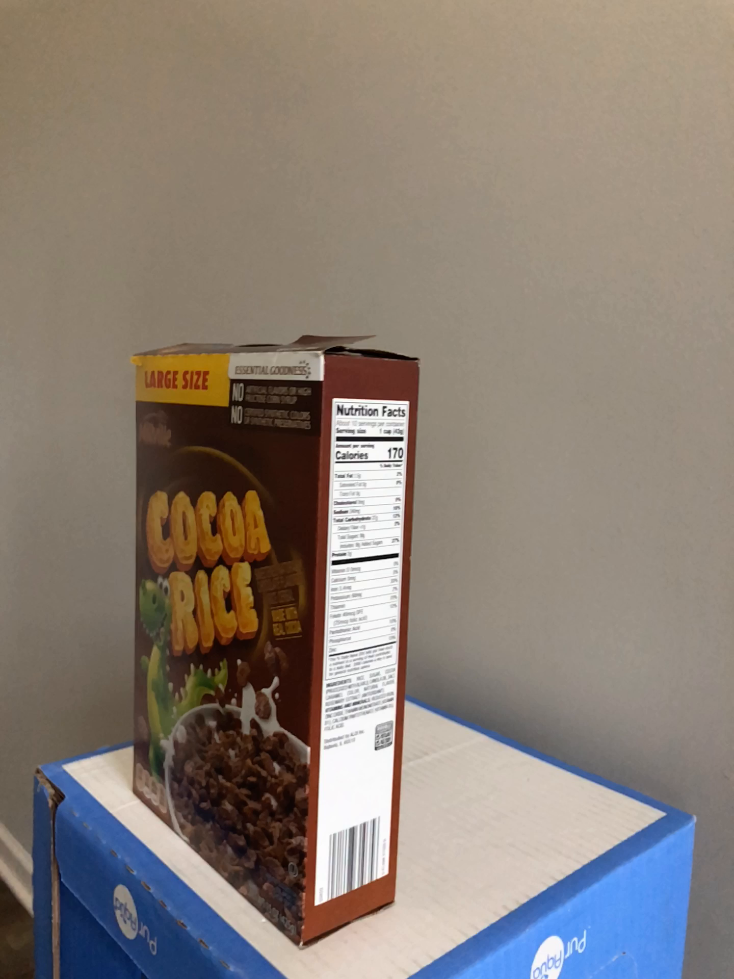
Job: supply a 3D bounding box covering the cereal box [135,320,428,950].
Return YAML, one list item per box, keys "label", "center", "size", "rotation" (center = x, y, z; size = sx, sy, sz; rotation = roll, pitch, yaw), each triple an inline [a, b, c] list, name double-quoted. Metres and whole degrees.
- label: "cereal box"
  center: [-0.062, 0.059, 0.463]
  size: [0.060, 0.290, 0.200]
  rotation: [-3, 7, -39]
